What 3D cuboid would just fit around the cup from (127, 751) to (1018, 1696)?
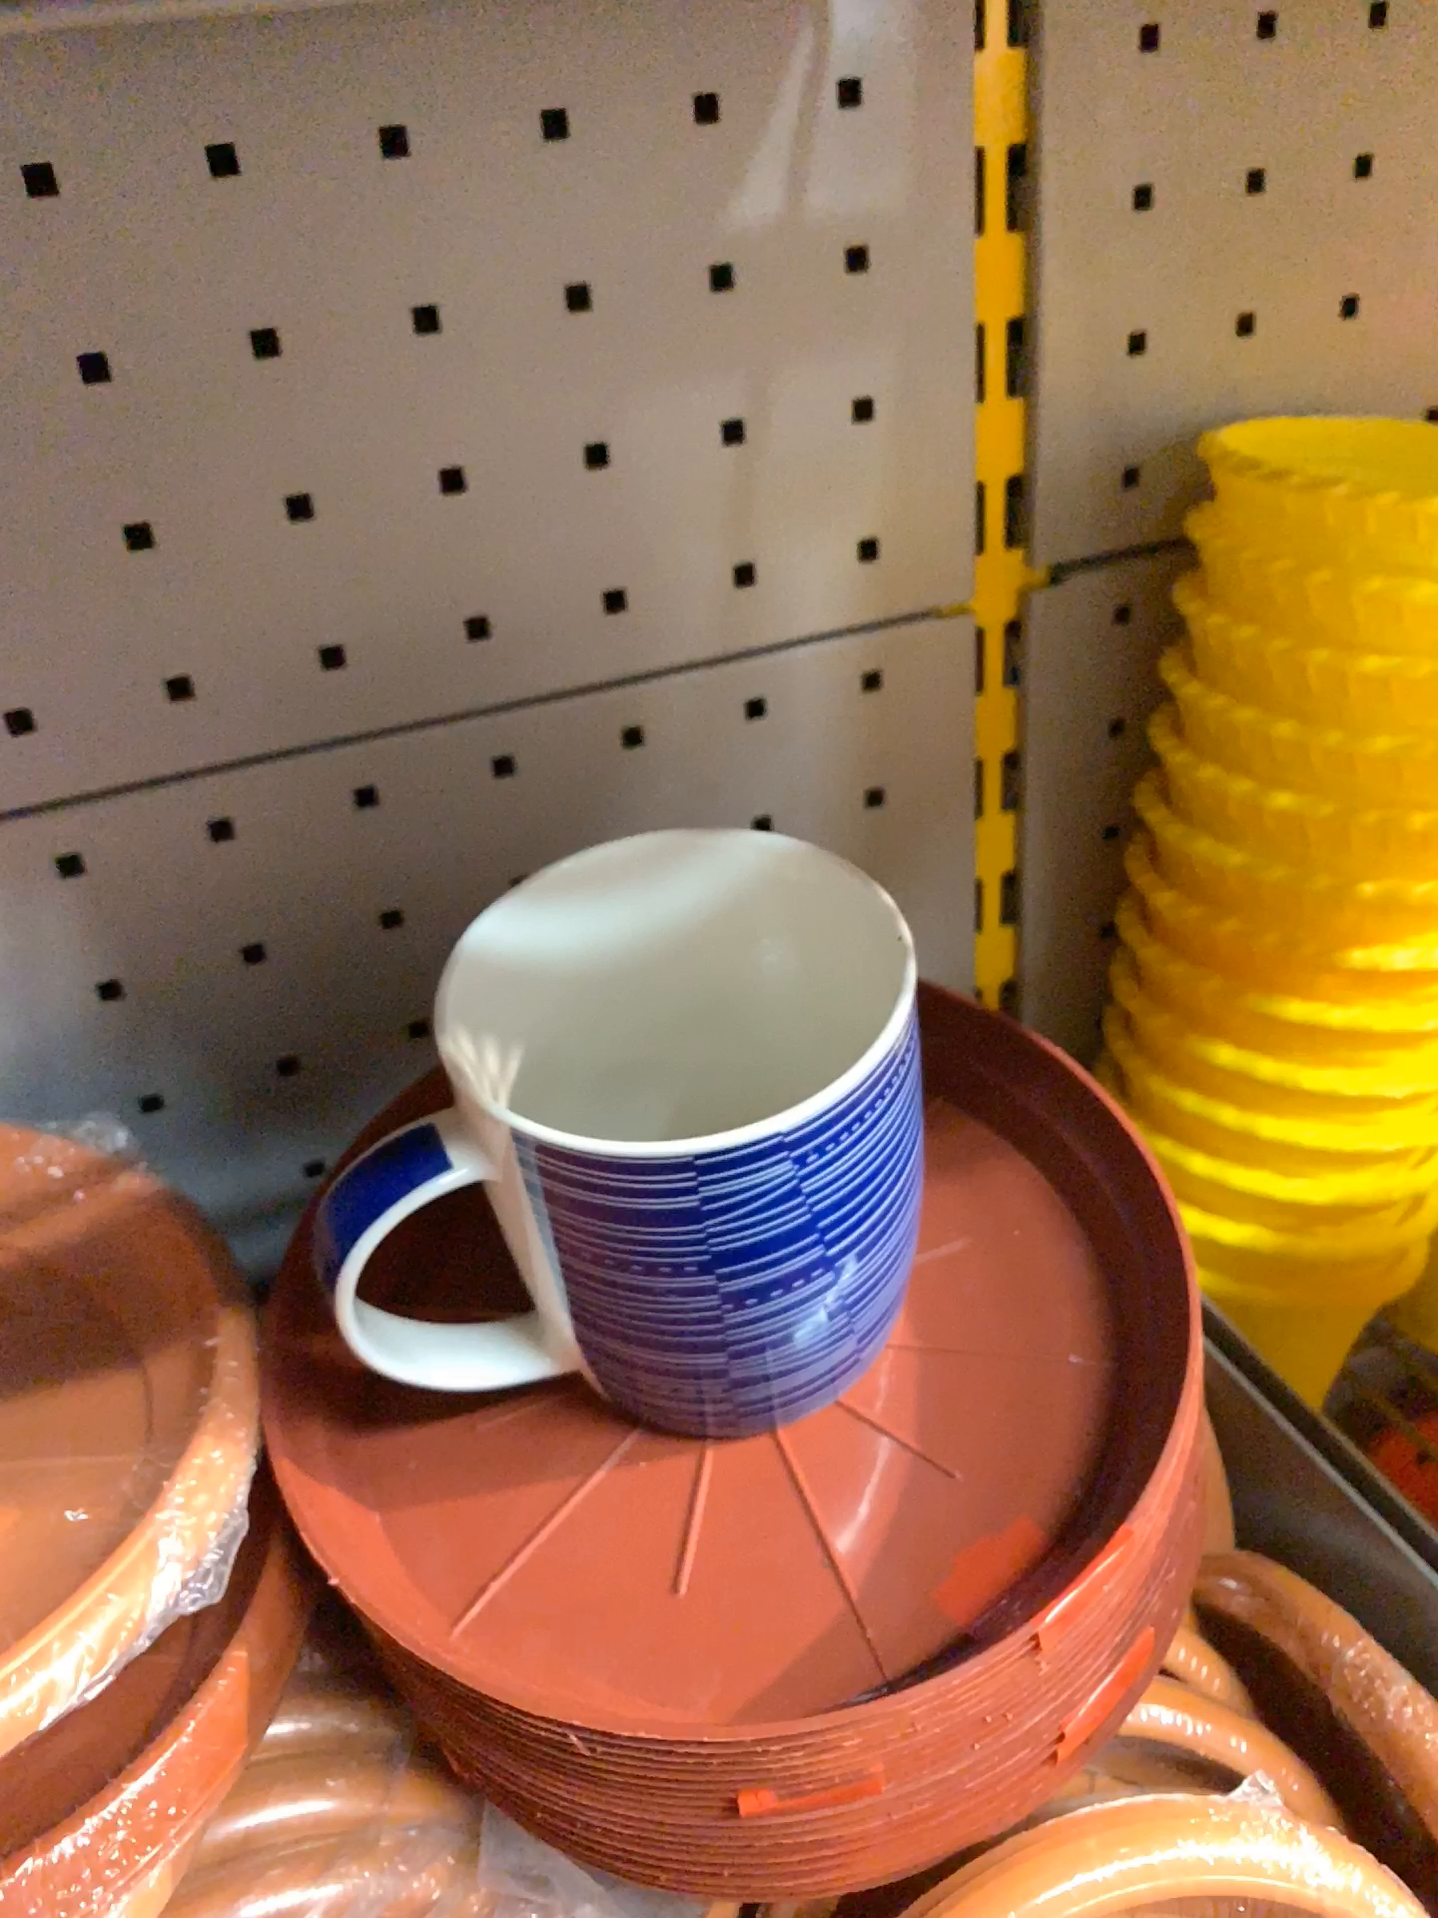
[{"bbox_3d":[-0.023,0.043,0.301,0.130,0.100,0.100,-28,41,-24],"label":"cup"}]
